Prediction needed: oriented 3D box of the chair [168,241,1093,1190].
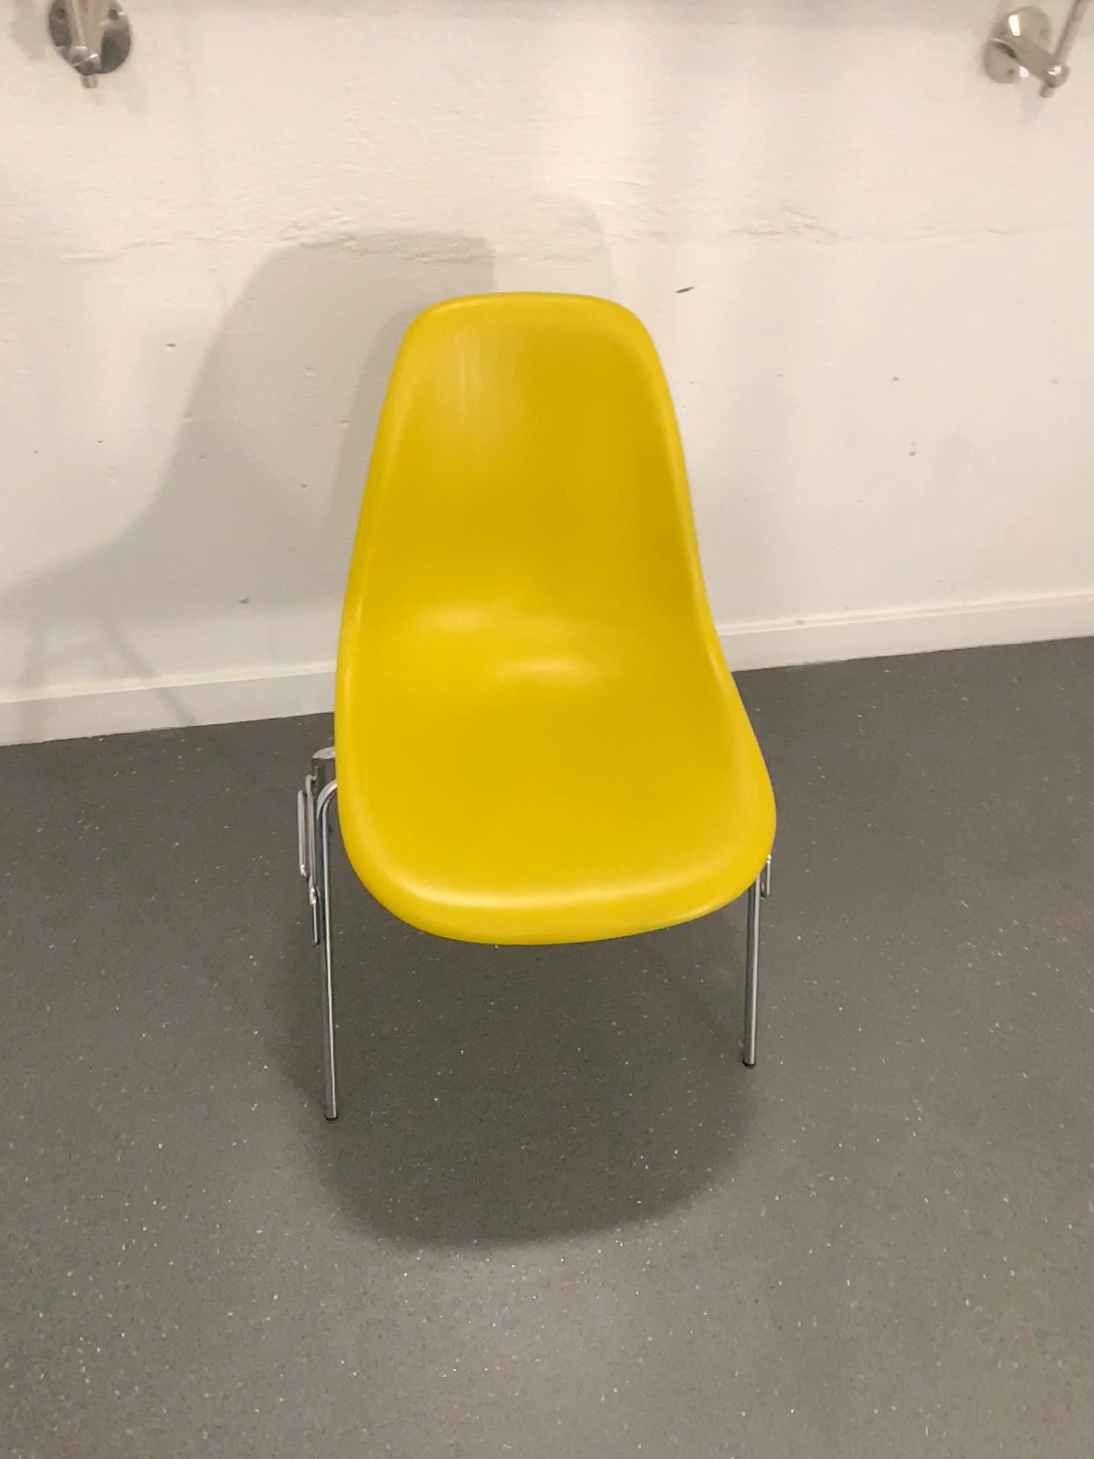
[{"bbox_3d":[-0.004,0.010,1.196,0.630,0.822,0.545,-6,48,-11],"label":"chair"}]
